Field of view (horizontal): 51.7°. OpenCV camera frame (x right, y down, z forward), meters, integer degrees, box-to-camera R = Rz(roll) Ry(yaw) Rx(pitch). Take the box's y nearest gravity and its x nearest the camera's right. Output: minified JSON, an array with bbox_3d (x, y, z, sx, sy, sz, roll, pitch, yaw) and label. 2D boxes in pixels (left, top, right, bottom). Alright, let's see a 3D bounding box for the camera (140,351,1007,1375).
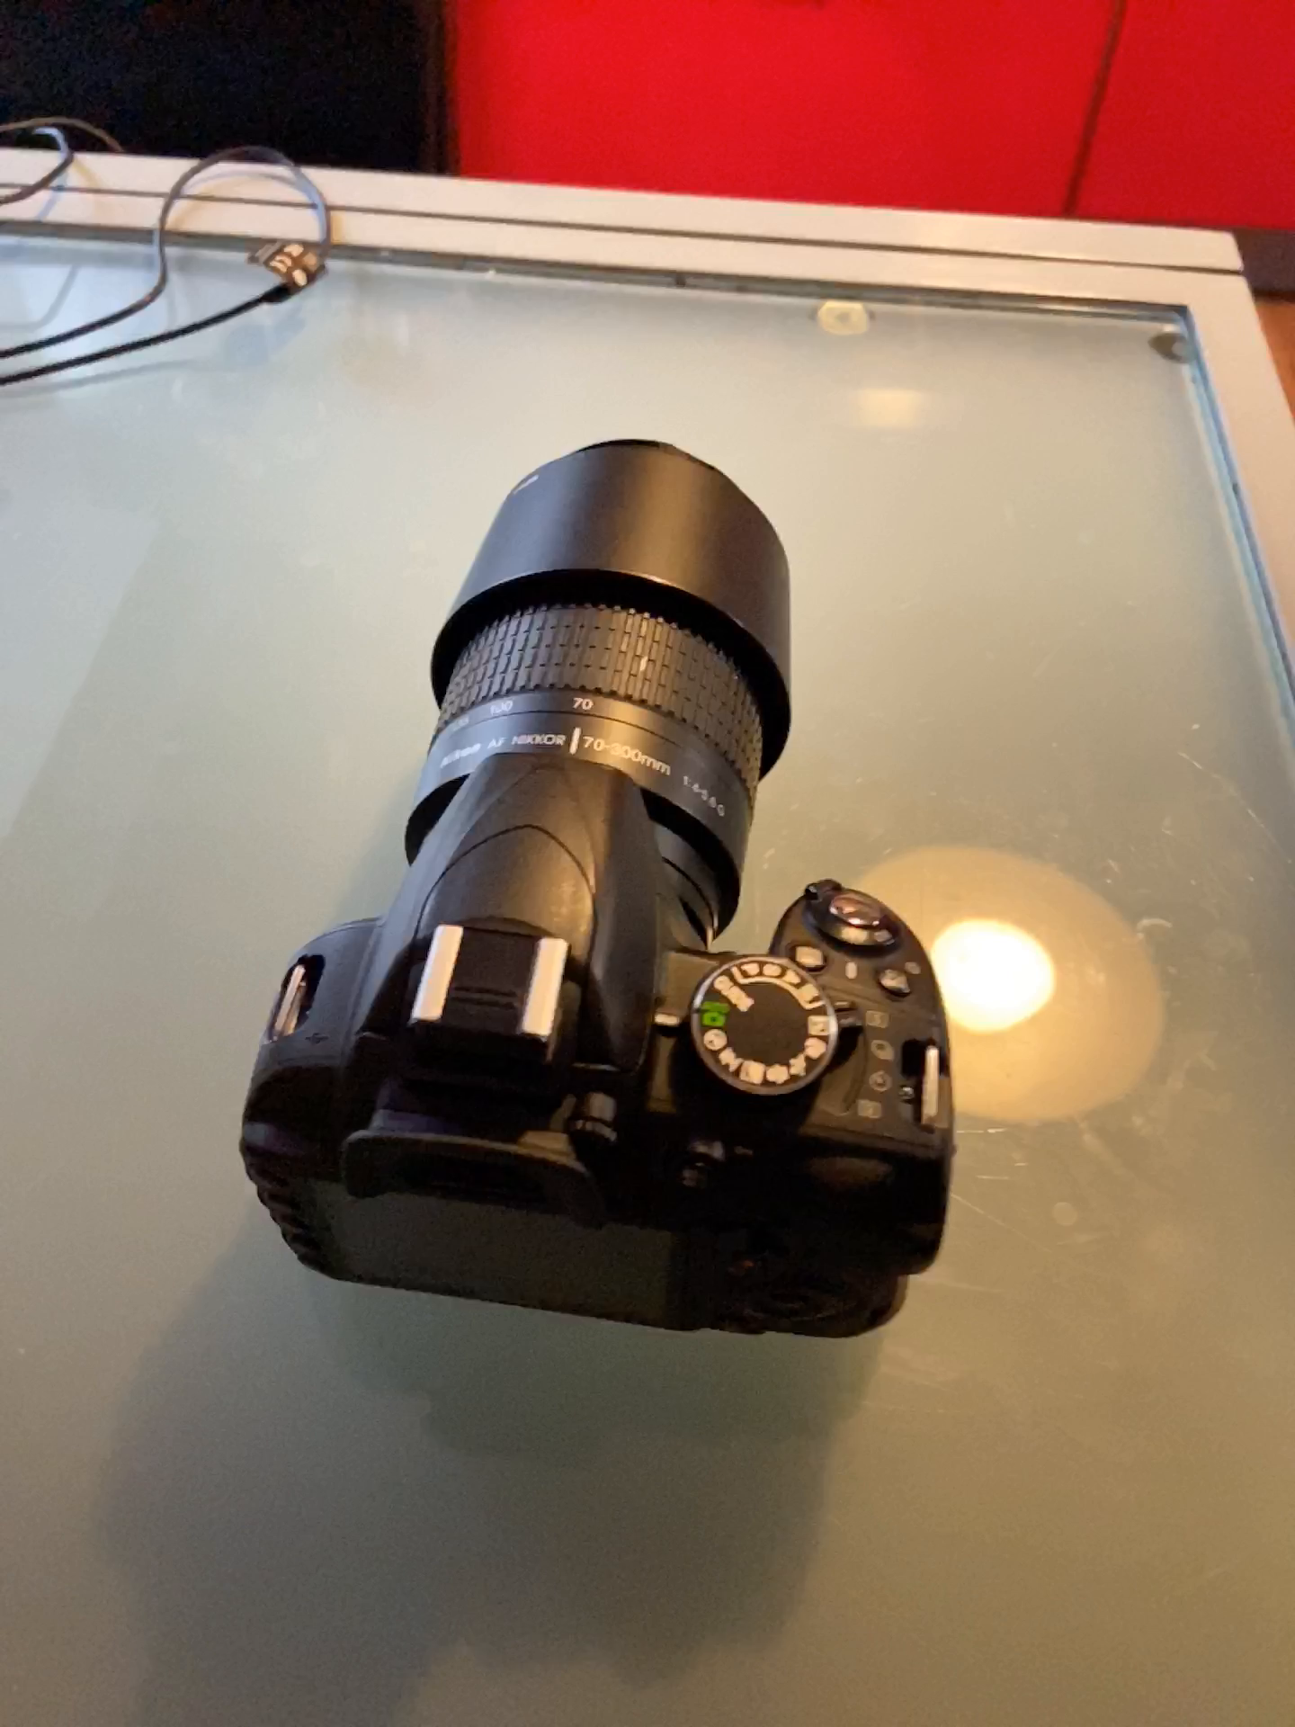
[{"bbox_3d":[-0.002,-0.010,0.284,0.124,0.094,0.189,6,52,3],"label":"camera"}]
